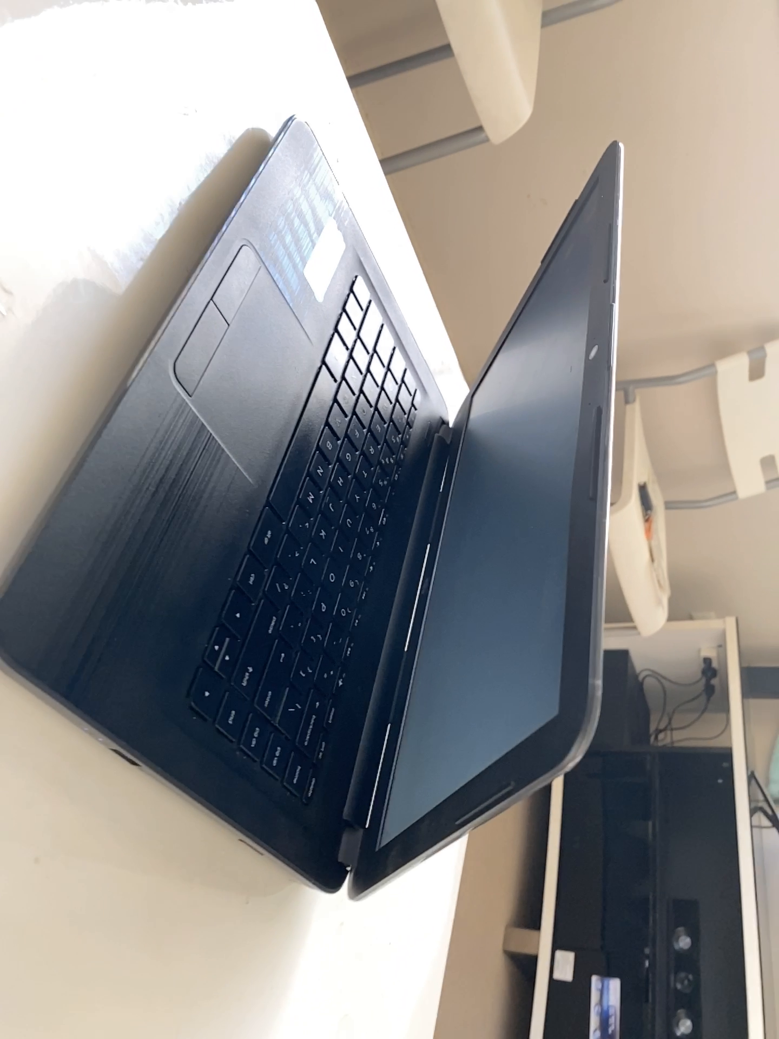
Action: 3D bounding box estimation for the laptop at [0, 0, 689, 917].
[{"bbox_3d":[0.033,-0.035,0.371,0.226,0.154,0.336,58,34,-42],"label":"laptop"}]
